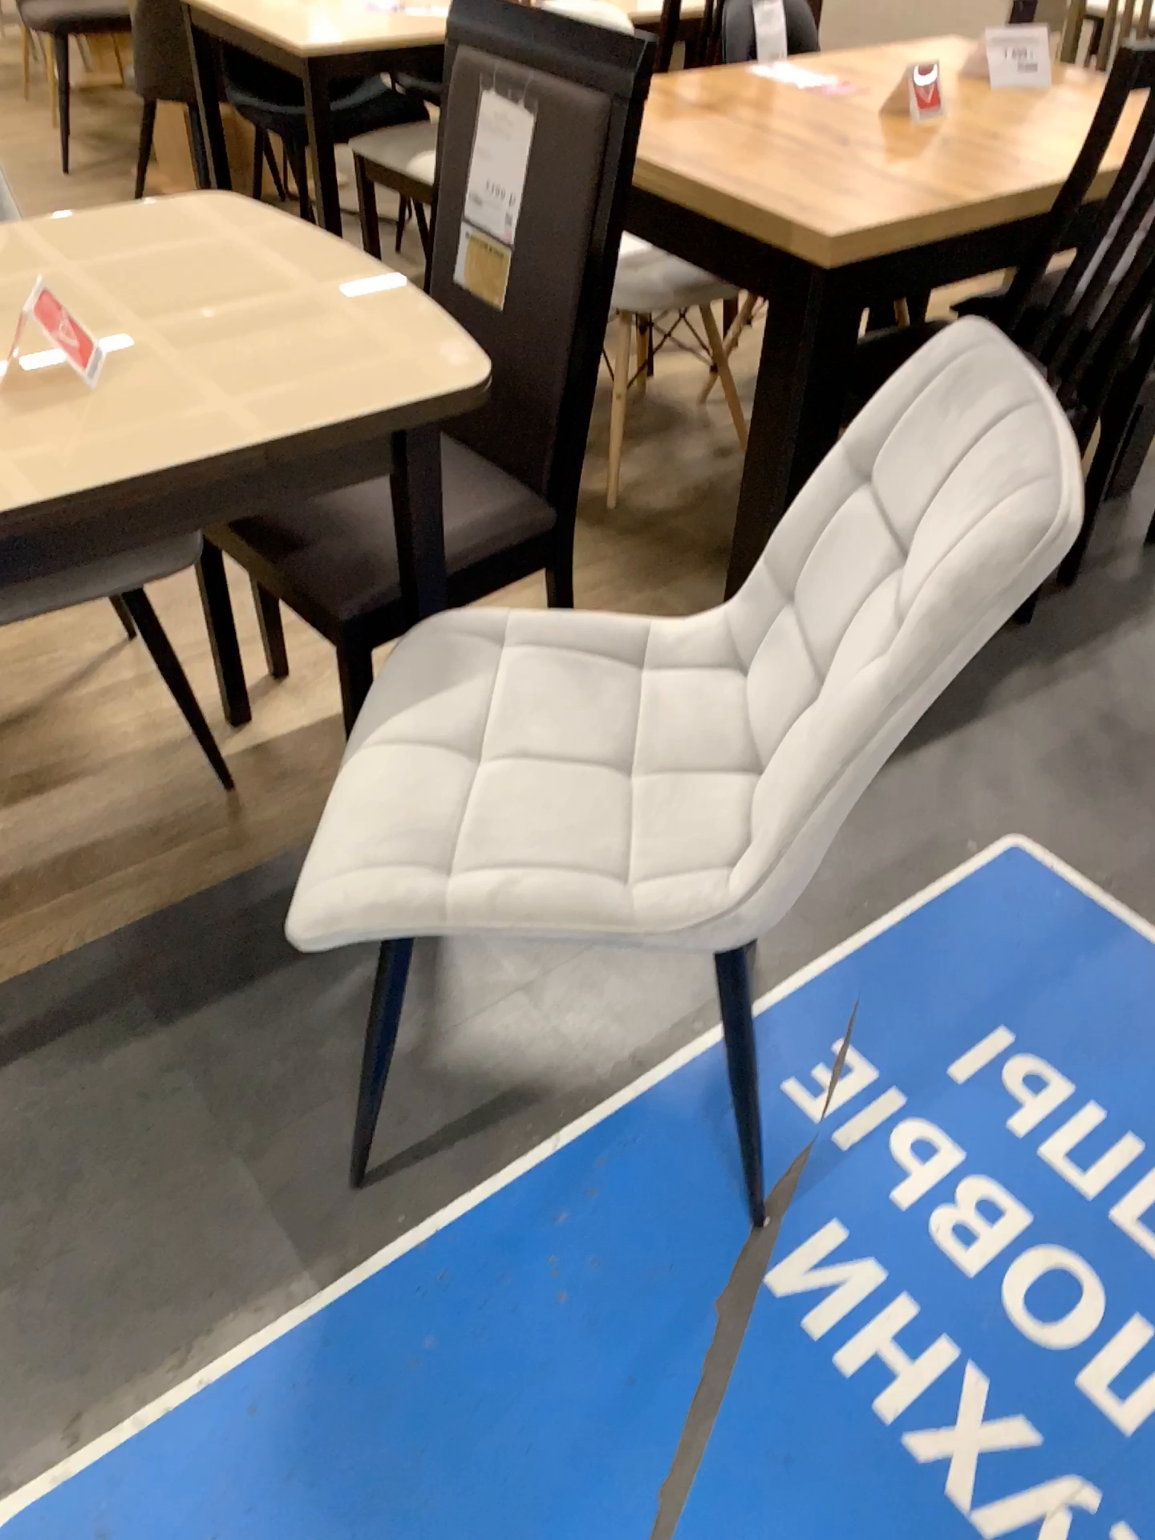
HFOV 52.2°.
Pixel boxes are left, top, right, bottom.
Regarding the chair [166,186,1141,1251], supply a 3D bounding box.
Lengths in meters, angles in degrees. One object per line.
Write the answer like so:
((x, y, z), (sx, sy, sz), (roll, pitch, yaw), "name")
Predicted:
((0.047, 0.007, 1.229), (0.600, 0.974, 0.483), (5, 42, 3), "chair")
